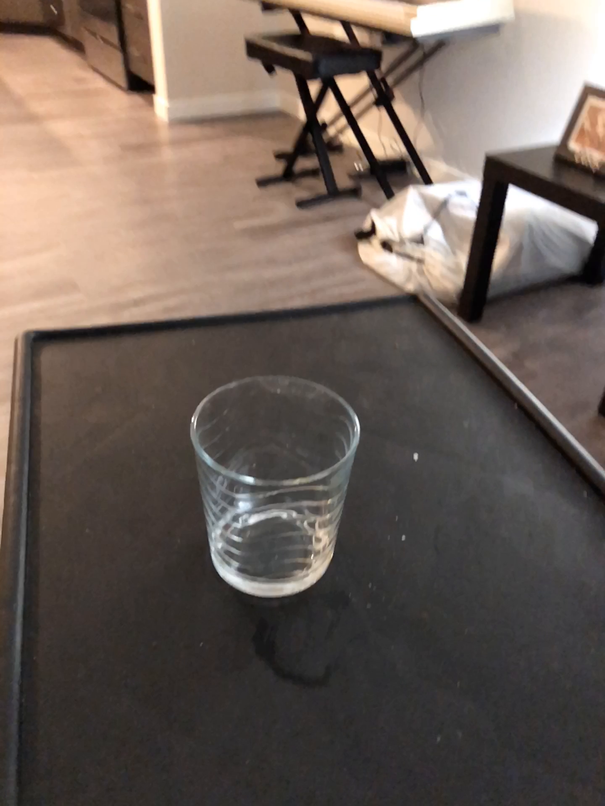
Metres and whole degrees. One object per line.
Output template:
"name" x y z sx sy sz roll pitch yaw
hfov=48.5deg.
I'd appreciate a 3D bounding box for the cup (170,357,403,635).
"cup" -0.012 0.049 0.384 0.090 0.099 0.090 2 37 -1
